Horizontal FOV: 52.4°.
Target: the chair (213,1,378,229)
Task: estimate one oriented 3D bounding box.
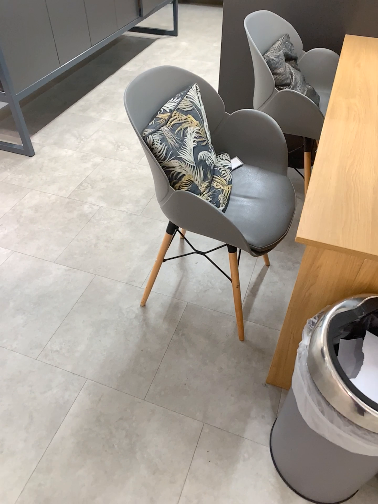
[{"bbox_3d":[0.496,-0.669,1.890,0.547,0.808,0.592,16,47,15],"label":"chair"}]

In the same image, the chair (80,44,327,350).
[{"bbox_3d":[0.081,-0.195,1.406,0.547,0.808,0.602,16,47,15],"label":"chair"}]
